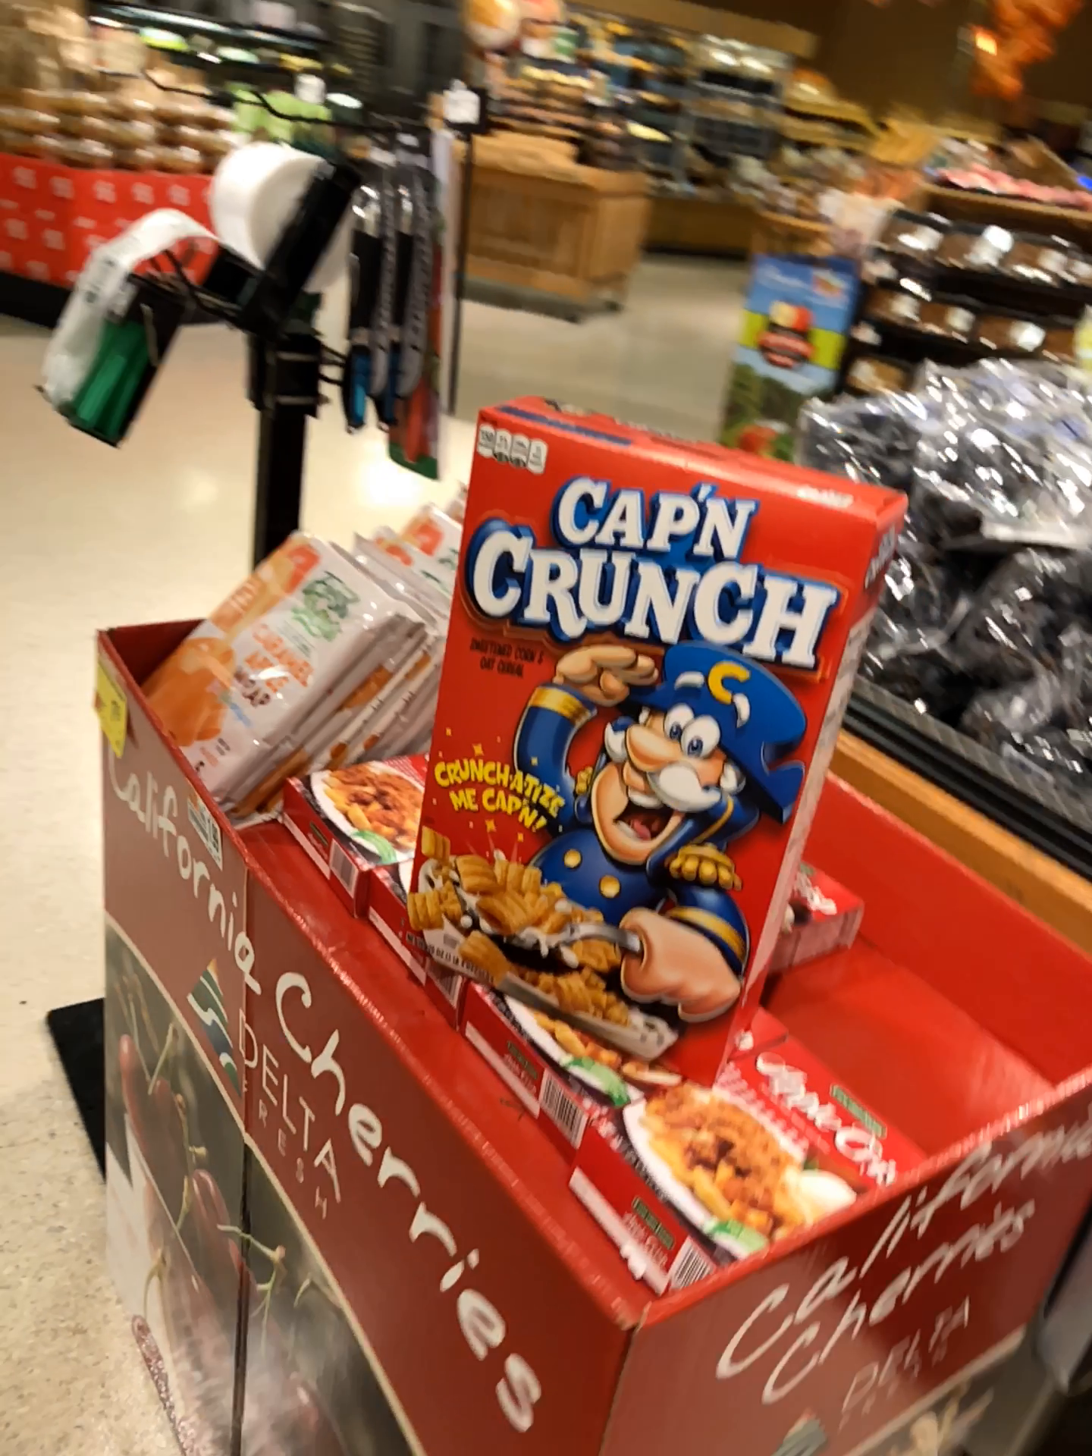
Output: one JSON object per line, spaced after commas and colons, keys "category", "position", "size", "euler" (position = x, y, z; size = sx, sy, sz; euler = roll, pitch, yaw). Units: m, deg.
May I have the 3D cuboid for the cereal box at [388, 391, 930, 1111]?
{"category": "cereal box", "position": [0.043, 0.012, 0.649], "size": [0.220, 0.328, 0.070], "euler": [21, 27, 22]}
